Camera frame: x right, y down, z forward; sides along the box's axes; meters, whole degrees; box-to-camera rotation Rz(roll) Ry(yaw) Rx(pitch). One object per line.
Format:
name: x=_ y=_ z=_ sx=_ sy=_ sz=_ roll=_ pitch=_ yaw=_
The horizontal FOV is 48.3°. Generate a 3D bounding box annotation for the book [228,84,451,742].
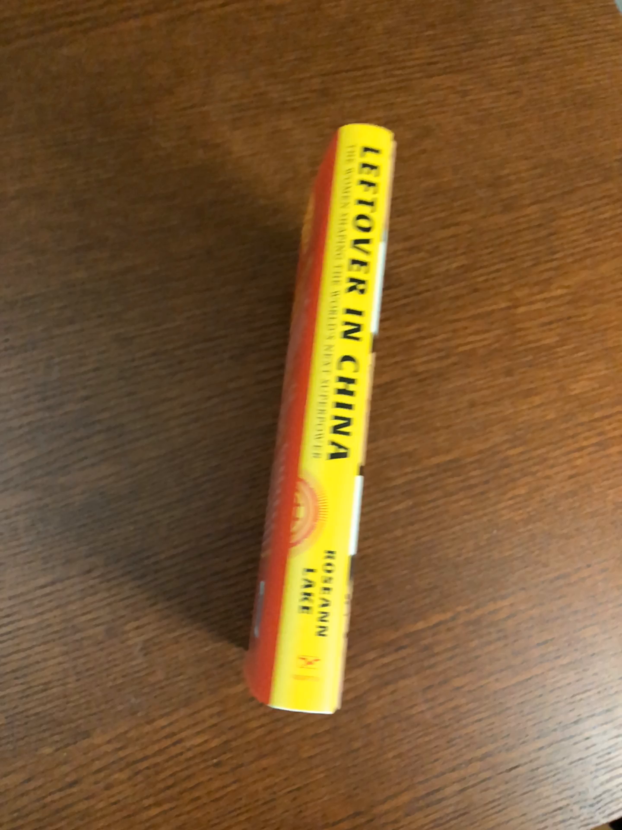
book: x=0.007 y=0.005 z=0.362 sx=0.060 sy=0.180 sz=0.260 roll=8 pitch=77 yaw=-4
